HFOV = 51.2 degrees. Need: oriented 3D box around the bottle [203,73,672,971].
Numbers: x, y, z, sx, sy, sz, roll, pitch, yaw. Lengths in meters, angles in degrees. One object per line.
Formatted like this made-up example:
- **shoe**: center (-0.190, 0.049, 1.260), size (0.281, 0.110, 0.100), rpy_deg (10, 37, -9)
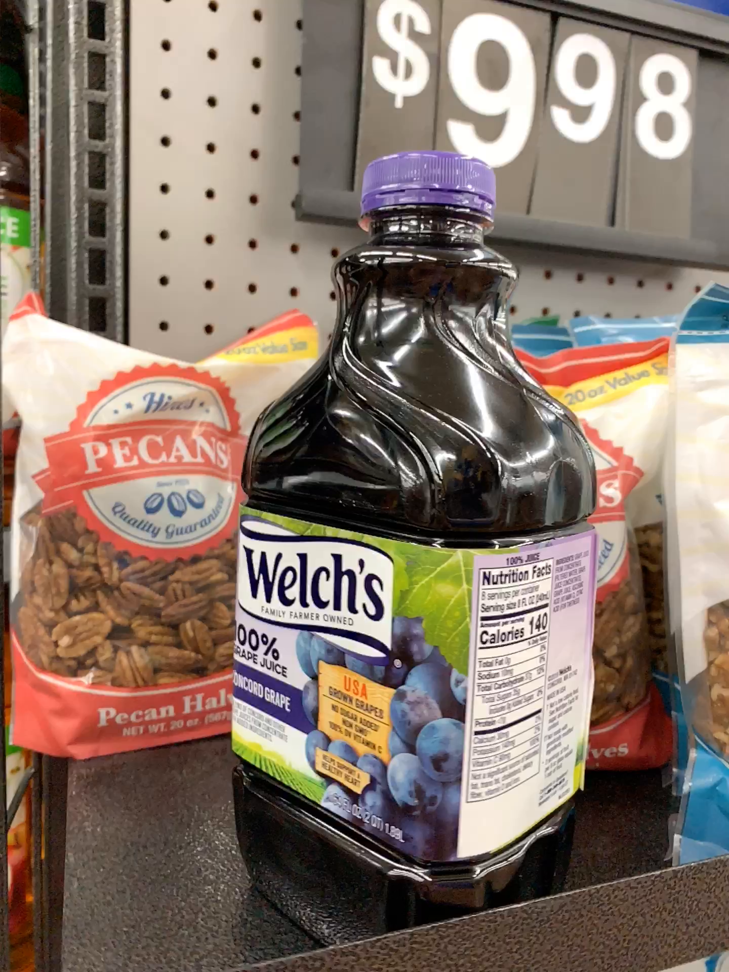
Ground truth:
- **bottle**: center (0.020, 0.020, 0.273), size (0.100, 0.260, 0.120), rpy_deg (-4, 9, -45)
